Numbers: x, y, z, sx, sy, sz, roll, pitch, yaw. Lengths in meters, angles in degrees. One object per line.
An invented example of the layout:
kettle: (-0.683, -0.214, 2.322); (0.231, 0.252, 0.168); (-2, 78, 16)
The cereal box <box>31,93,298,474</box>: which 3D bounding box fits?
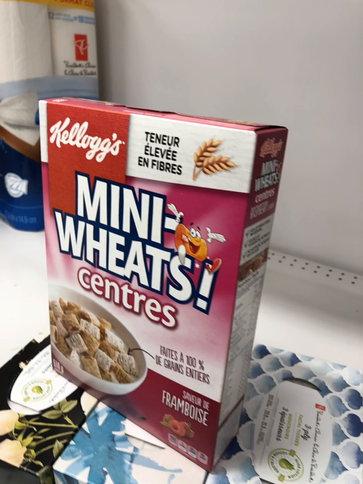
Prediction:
cereal box: (-0.035, 0.025, 0.348); (0.210, 0.269, 0.050); (18, 25, 31)
